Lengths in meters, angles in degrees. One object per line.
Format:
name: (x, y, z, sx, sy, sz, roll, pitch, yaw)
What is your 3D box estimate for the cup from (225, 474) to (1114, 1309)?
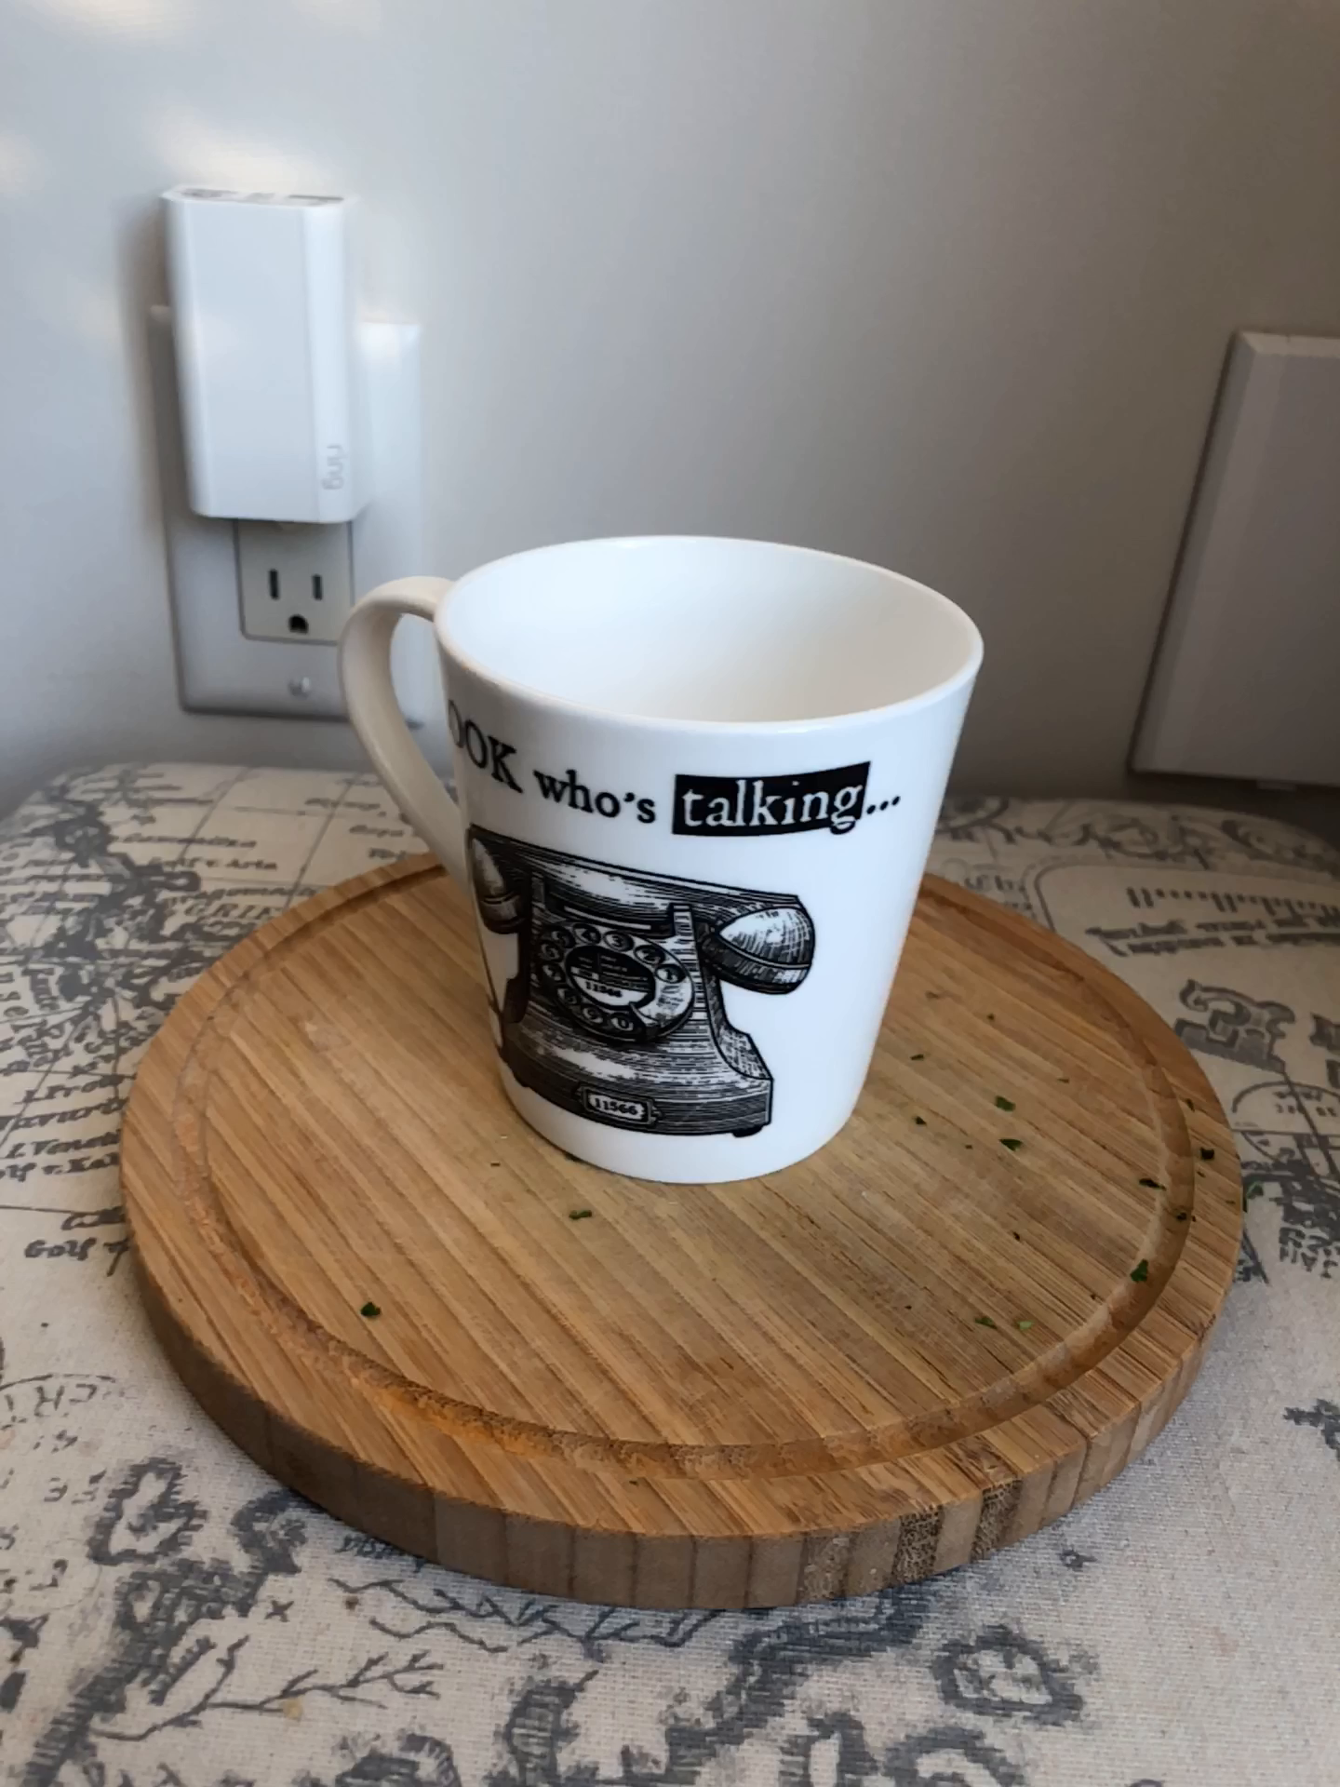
cup: (-0.003, -0.012, 0.262, 0.111, 0.086, 0.091, 26, 35, 34)
